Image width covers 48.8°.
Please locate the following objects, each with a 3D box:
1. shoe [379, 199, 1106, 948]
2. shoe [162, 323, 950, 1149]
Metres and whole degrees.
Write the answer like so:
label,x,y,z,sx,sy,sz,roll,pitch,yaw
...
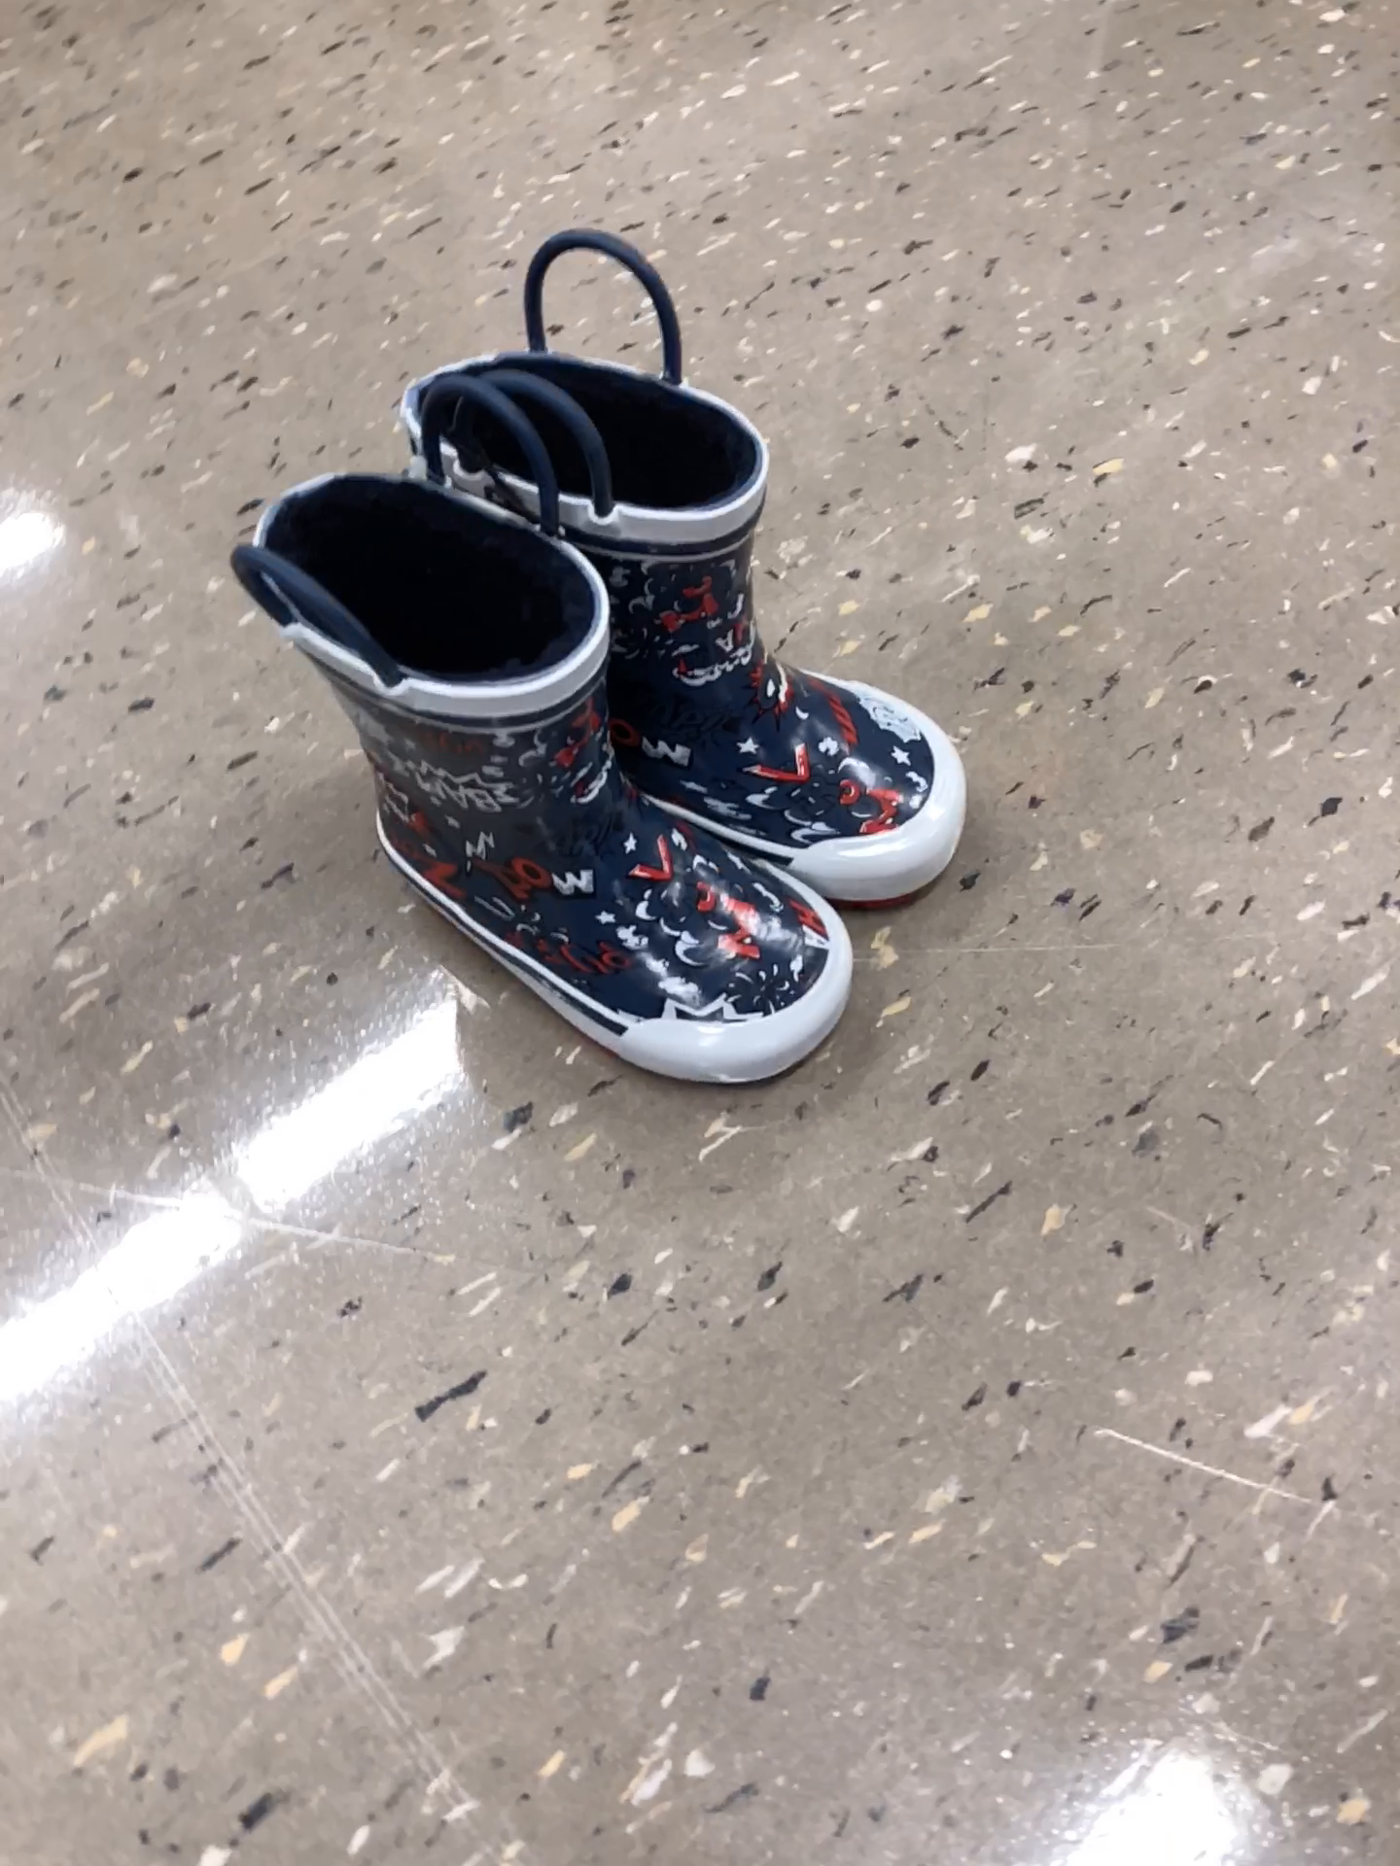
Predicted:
label,x,y,z,sx,sy,sz,roll,pitch,yaw
shoe,0.014,-0.092,0.425,0.150,0.160,0.080,17,60,13
shoe,-0.031,-0.046,0.412,0.160,0.160,0.080,28,63,19
